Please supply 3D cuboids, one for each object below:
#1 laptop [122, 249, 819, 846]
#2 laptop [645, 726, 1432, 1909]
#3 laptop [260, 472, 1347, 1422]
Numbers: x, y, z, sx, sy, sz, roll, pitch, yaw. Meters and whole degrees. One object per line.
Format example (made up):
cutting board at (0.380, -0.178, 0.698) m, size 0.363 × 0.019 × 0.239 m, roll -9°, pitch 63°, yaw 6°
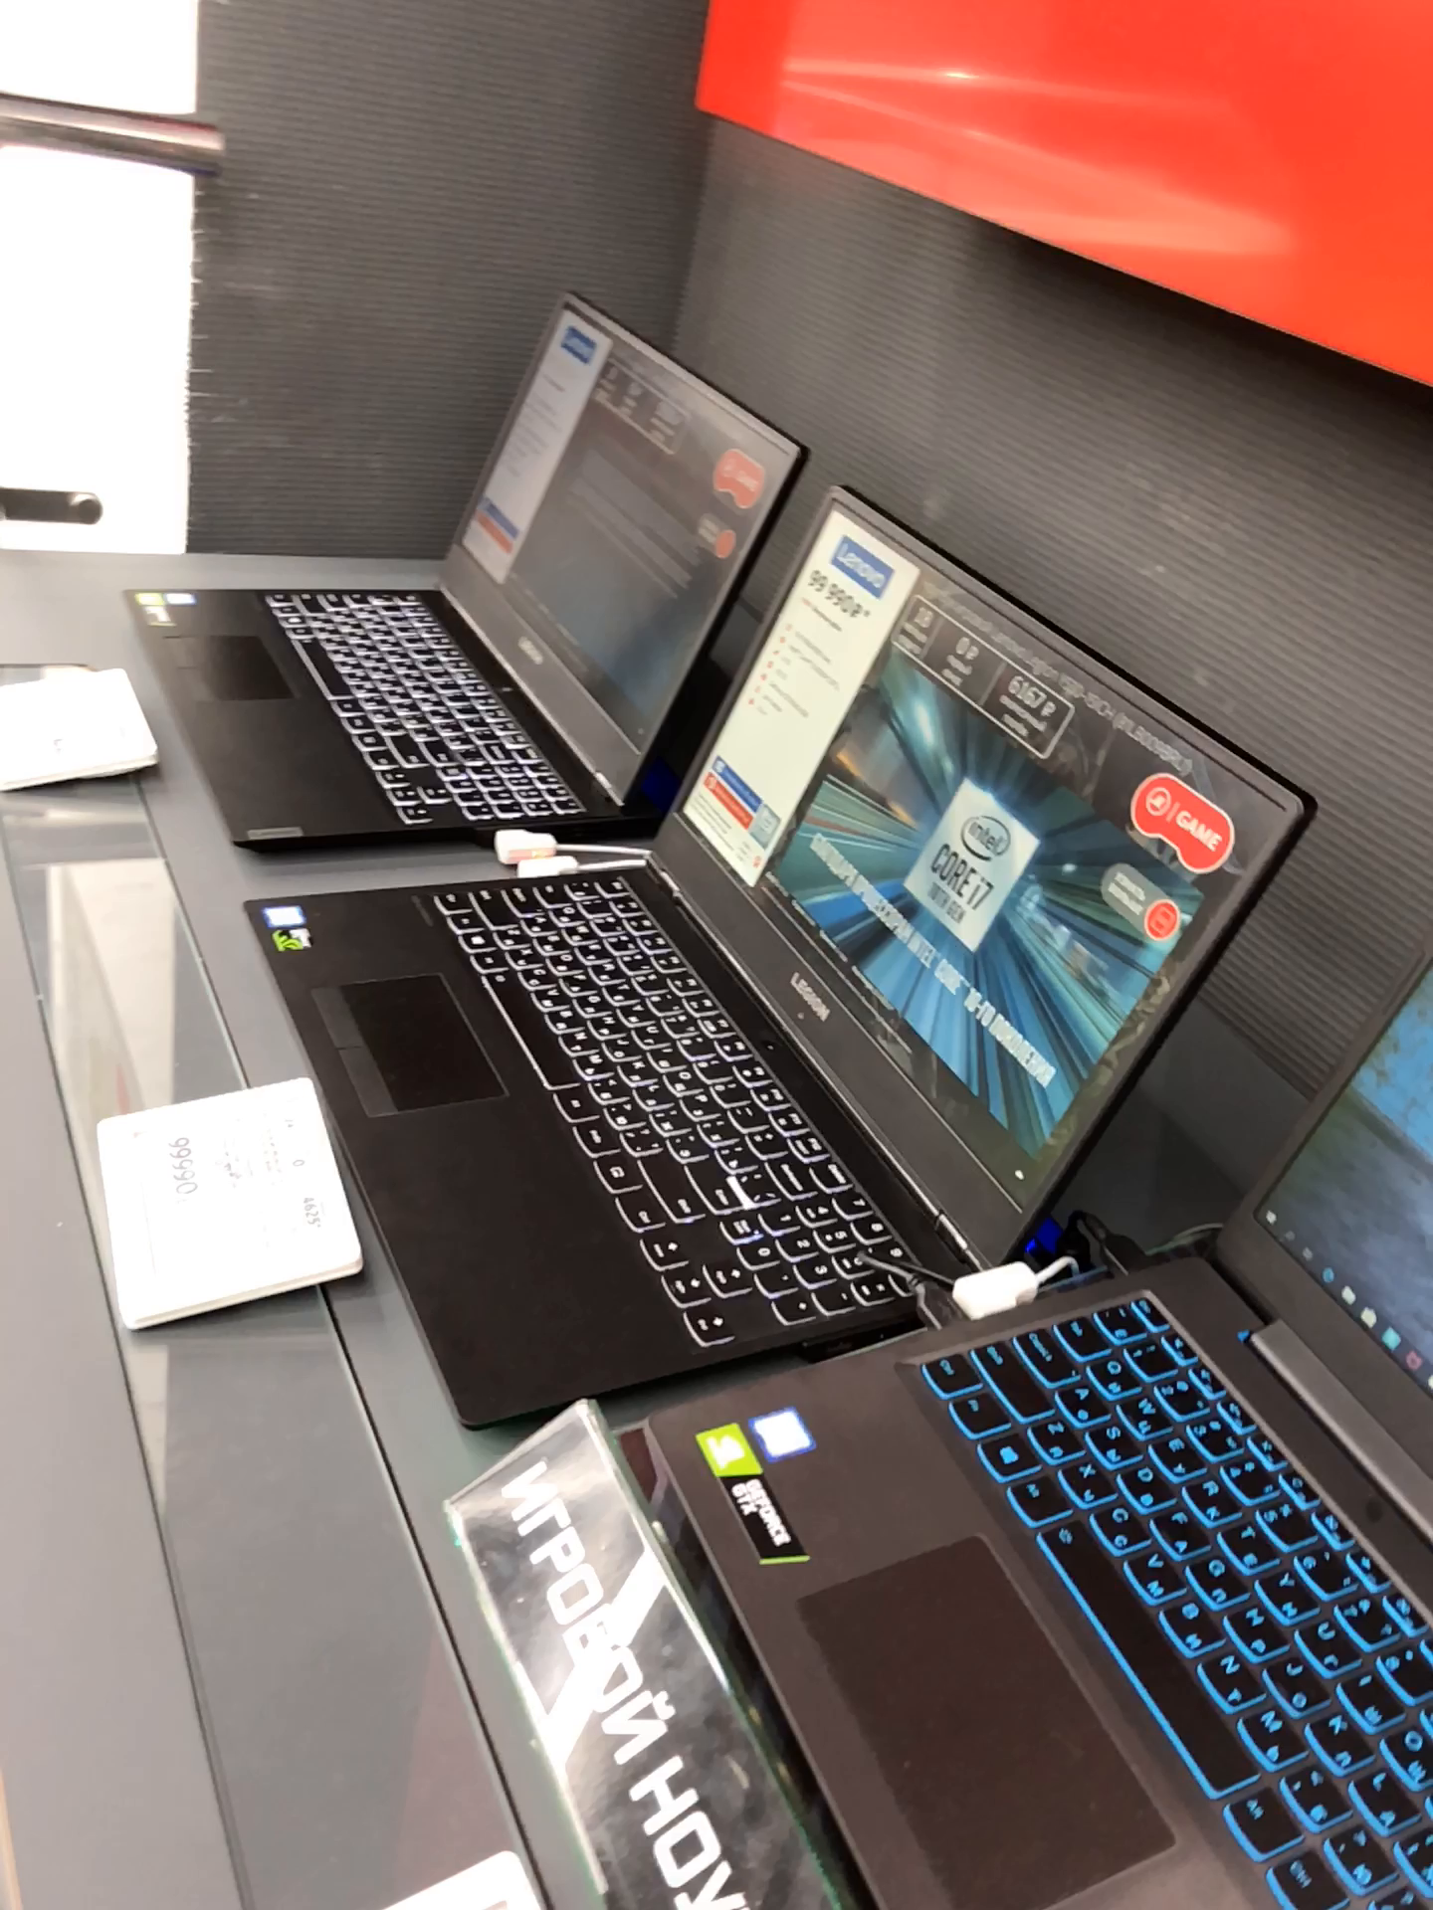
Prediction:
laptop at (-0.179, -0.272, 0.995) m, size 0.315 × 0.223 × 0.354 m, roll -7°, pitch 37°, yaw -29°
laptop at (0.224, 0.137, 0.414) m, size 0.334 × 0.225 × 0.356 m, roll -8°, pitch 36°, yaw -24°
laptop at (-0.002, -0.042, 0.691) m, size 0.301 × 0.225 × 0.354 m, roll -7°, pitch 36°, yaw -27°
